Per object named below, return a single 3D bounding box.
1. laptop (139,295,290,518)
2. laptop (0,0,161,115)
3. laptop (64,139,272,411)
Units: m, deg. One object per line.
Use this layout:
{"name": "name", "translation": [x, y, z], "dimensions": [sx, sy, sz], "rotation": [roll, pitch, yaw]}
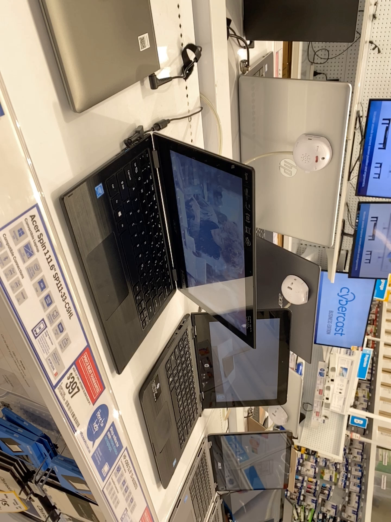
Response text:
{"name": "laptop", "translation": [0.069, 0.296, 0.853], "dimensions": [0.297, 0.190, 0.324], "rotation": [-55, 147, -47]}
{"name": "laptop", "translation": [-0.104, -0.332, 0.417], "dimensions": [0.195, 0.001, 0.285], "rotation": [-55, 144, -47]}
{"name": "laptop", "translation": [-0.009, 0.011, 0.551], "dimensions": [0.197, 0.175, 0.291], "rotation": [-54, 147, -47]}
